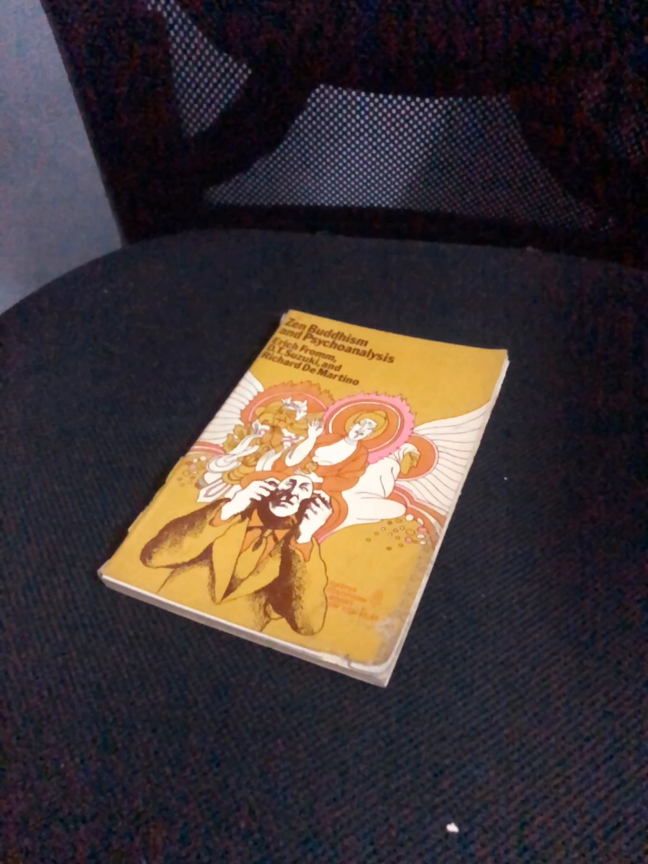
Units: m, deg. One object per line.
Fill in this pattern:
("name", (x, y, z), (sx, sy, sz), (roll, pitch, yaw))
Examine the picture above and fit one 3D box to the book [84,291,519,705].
("book", (0.002, 0.010, 0.345), (0.136, 0.020, 0.201), (15, 50, 18))
